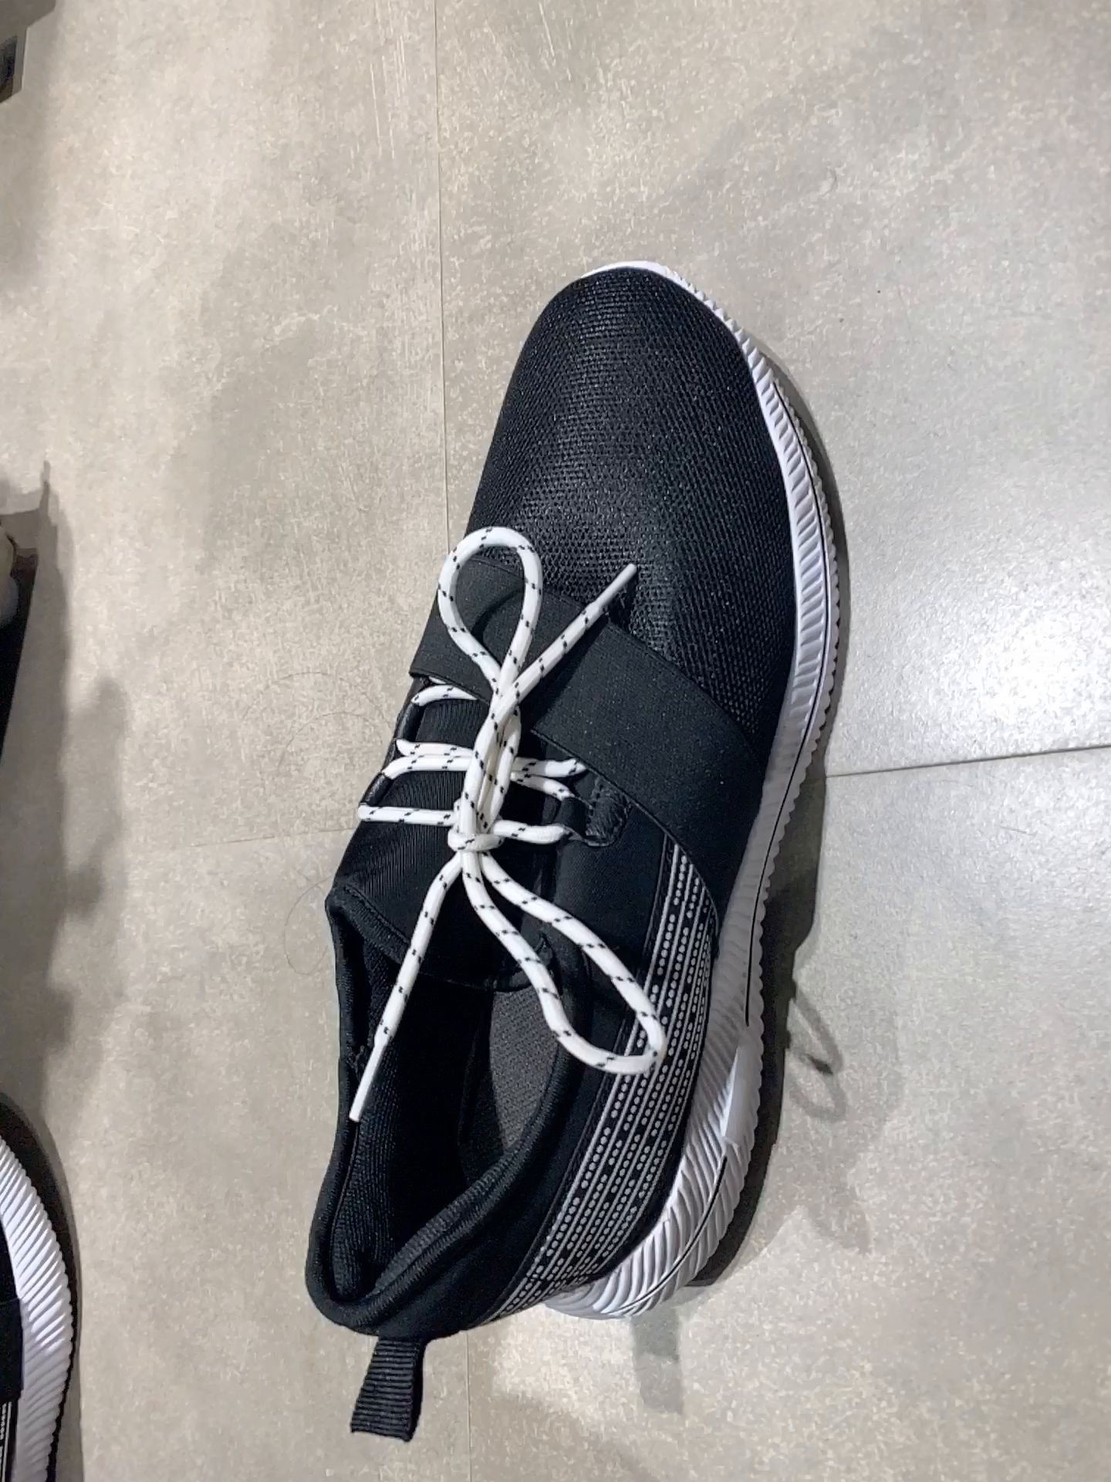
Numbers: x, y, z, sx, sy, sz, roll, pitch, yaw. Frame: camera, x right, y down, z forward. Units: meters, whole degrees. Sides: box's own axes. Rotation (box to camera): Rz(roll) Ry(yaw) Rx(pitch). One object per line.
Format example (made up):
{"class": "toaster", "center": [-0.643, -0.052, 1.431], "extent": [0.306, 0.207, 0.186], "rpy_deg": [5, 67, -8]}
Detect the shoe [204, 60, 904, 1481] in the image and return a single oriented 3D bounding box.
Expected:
{"class": "shoe", "center": [0.011, 0.010, 0.320], "extent": [0.117, 0.131, 0.304], "rpy_deg": [2, 83, 33]}
